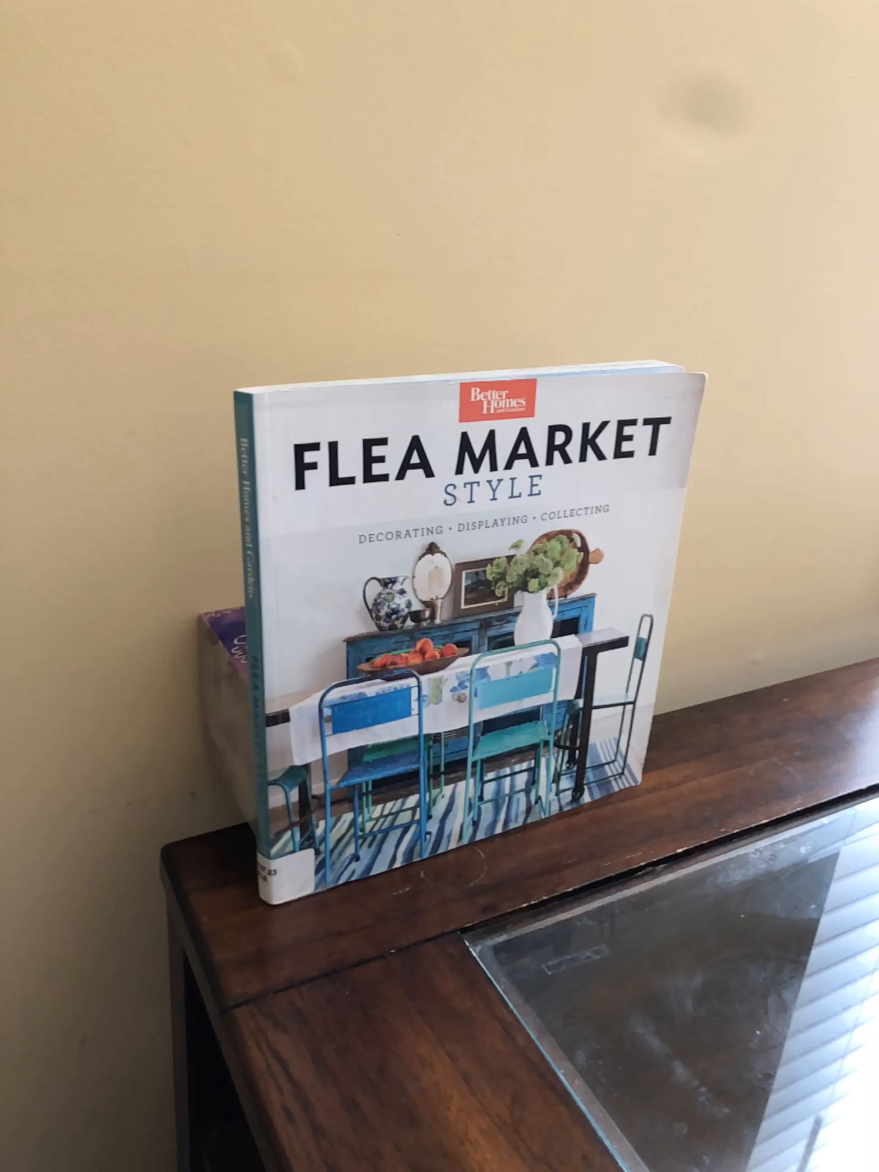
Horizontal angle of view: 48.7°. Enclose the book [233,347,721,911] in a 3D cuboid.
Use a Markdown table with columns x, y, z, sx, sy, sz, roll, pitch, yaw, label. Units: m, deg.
| x | y | z | sx | sy | sz | roll | pitch | yaw | label |
| --- | --- | --- | --- | --- | --- | --- | --- | --- | --- |
| 0.022 | 0.014 | 0.468 | 0.233 | 0.239 | 0.032 | -11 | 27 | -30 | book |
